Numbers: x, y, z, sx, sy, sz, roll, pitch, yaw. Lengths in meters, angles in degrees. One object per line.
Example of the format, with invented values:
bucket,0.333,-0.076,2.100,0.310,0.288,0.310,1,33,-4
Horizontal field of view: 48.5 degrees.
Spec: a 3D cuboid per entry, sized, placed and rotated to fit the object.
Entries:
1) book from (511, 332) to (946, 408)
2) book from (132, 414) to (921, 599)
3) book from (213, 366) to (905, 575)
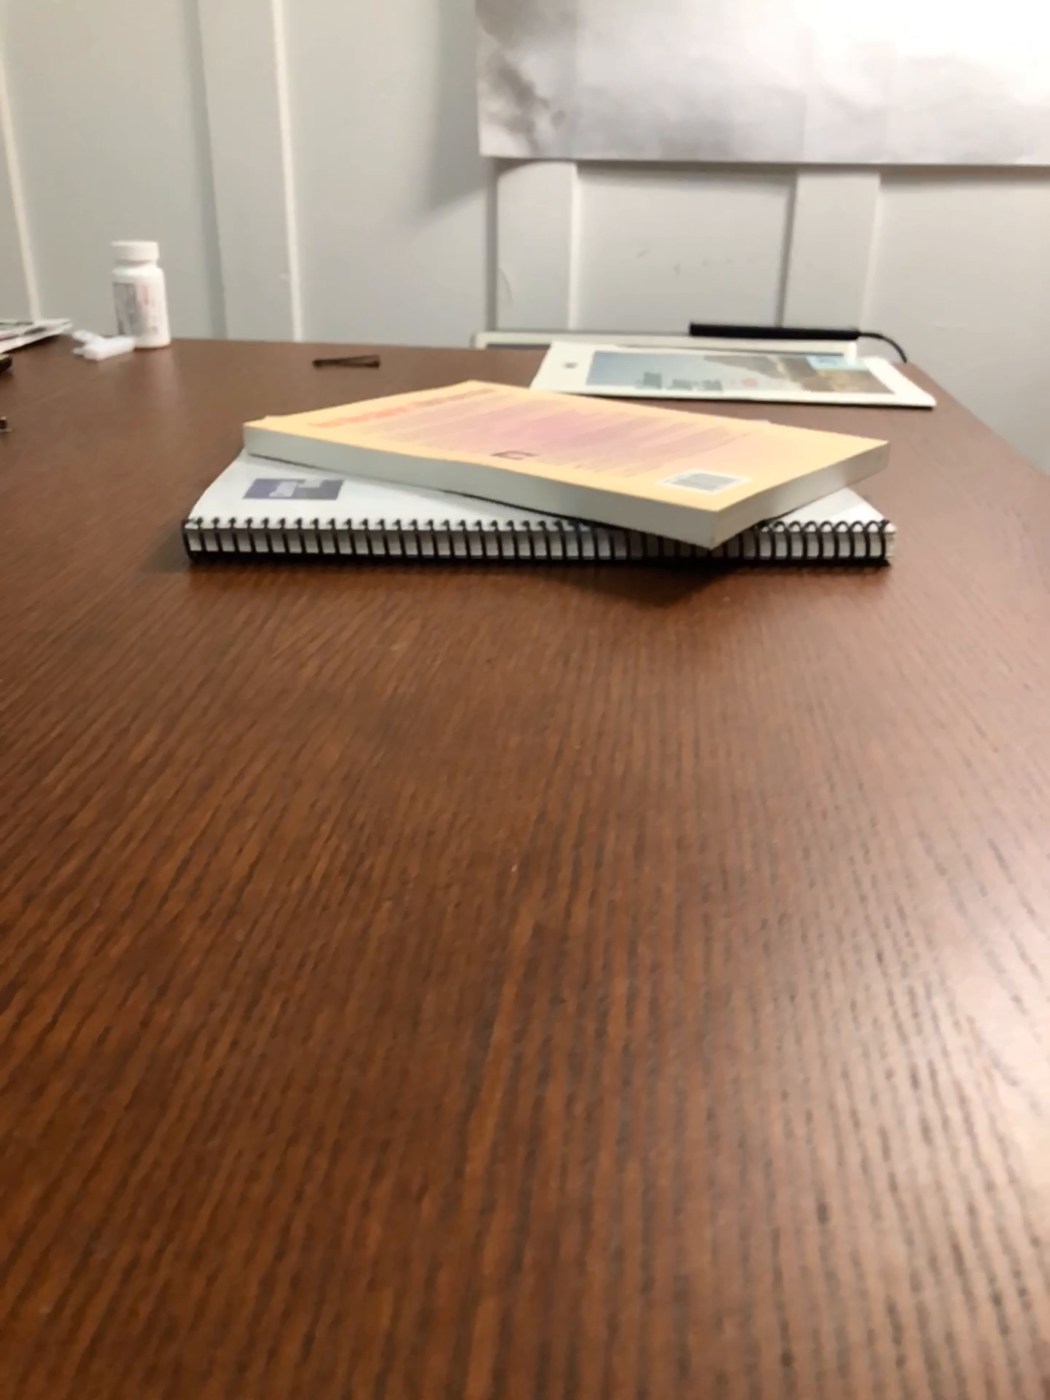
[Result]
book,0.134,-0.236,0.822,0.270,0.010,0.201,3,25,4
book,-0.003,-0.096,0.535,0.290,0.020,0.231,0,25,-4
book,0.017,-0.120,0.546,0.260,0.020,0.191,18,30,31
